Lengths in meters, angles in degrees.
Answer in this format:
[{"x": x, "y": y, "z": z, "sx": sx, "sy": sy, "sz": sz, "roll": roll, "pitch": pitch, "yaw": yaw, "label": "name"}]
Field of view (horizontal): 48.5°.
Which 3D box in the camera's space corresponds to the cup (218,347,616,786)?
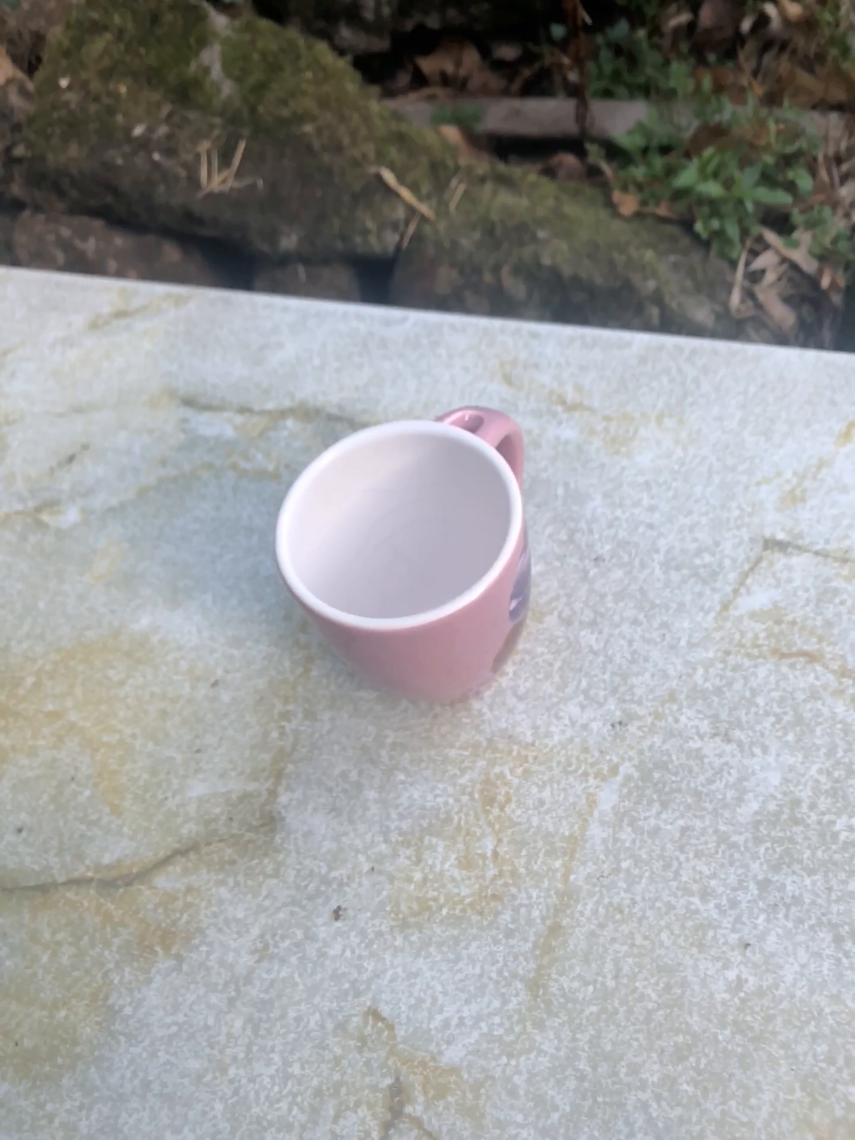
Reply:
[{"x": 0.004, "y": -0.001, "z": 0.318, "sx": 0.080, "sy": 0.080, "sz": 0.099, "roll": 24, "pitch": 68, "yaw": 23, "label": "cup"}]
